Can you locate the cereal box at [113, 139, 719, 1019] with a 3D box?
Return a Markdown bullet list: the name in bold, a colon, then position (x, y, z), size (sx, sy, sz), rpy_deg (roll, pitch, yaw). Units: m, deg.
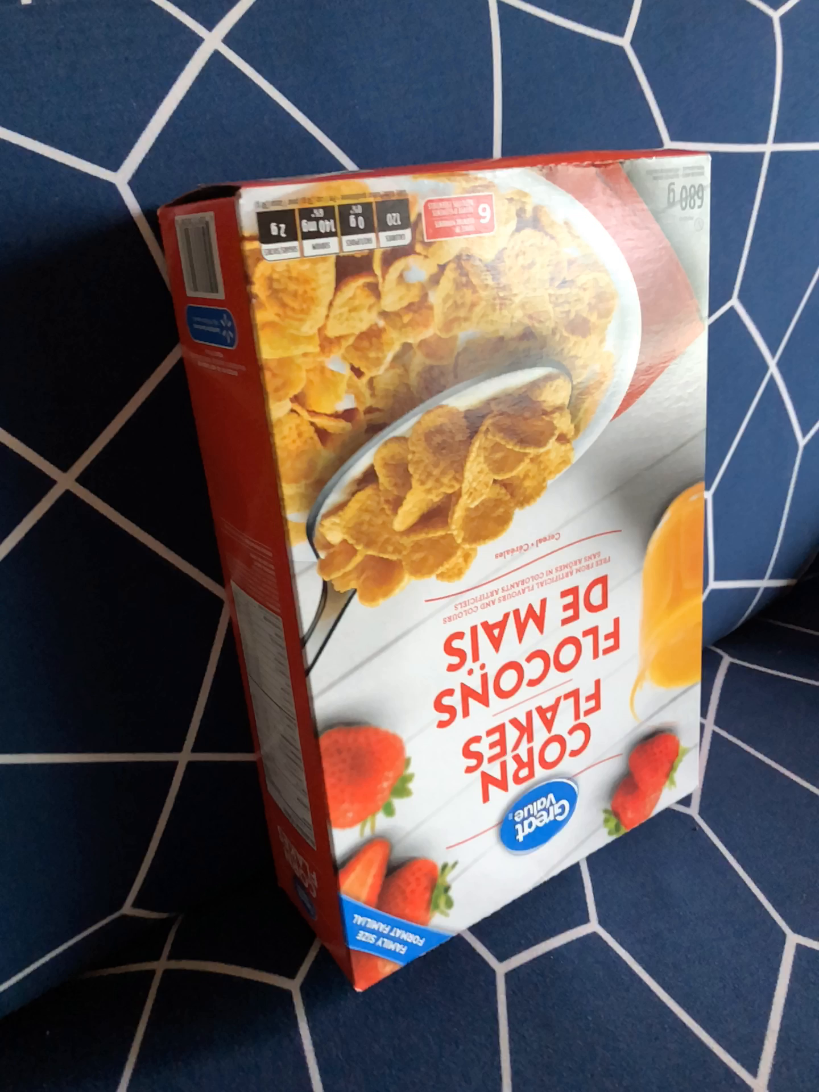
- **cereal box**: position (0.024, 0.002, 0.410), size (0.220, 0.319, 0.100), rpy_deg (-18, 21, -28)
